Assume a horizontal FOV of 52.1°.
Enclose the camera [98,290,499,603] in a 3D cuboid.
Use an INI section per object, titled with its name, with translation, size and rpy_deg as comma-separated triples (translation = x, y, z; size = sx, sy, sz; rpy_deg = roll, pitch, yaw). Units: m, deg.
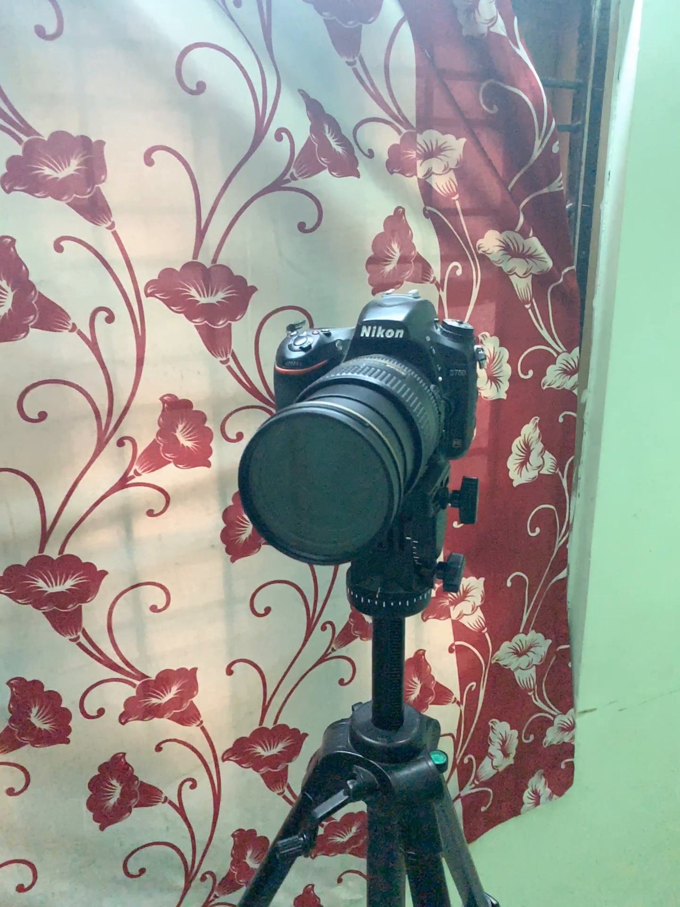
[camera]
translation = -0.003, -0.022, 0.385
size = 0.172, 0.122, 0.170
rpy_deg = 3, 17, 12
